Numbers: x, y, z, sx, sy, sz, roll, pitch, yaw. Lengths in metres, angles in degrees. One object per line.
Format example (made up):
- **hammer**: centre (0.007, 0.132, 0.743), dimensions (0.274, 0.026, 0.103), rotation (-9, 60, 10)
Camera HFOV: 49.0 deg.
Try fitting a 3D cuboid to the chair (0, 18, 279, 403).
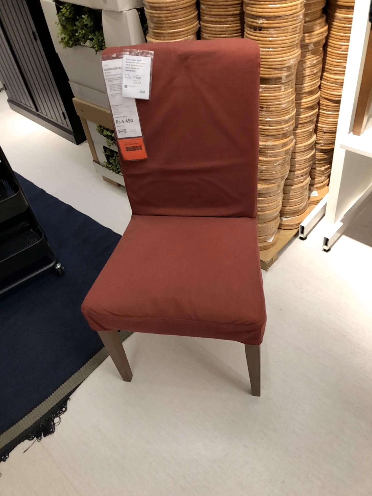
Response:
- **chair**: centre (-0.012, -0.036, 1.224), dimensions (0.520, 0.994, 0.533), rotation (3, 47, 13)
